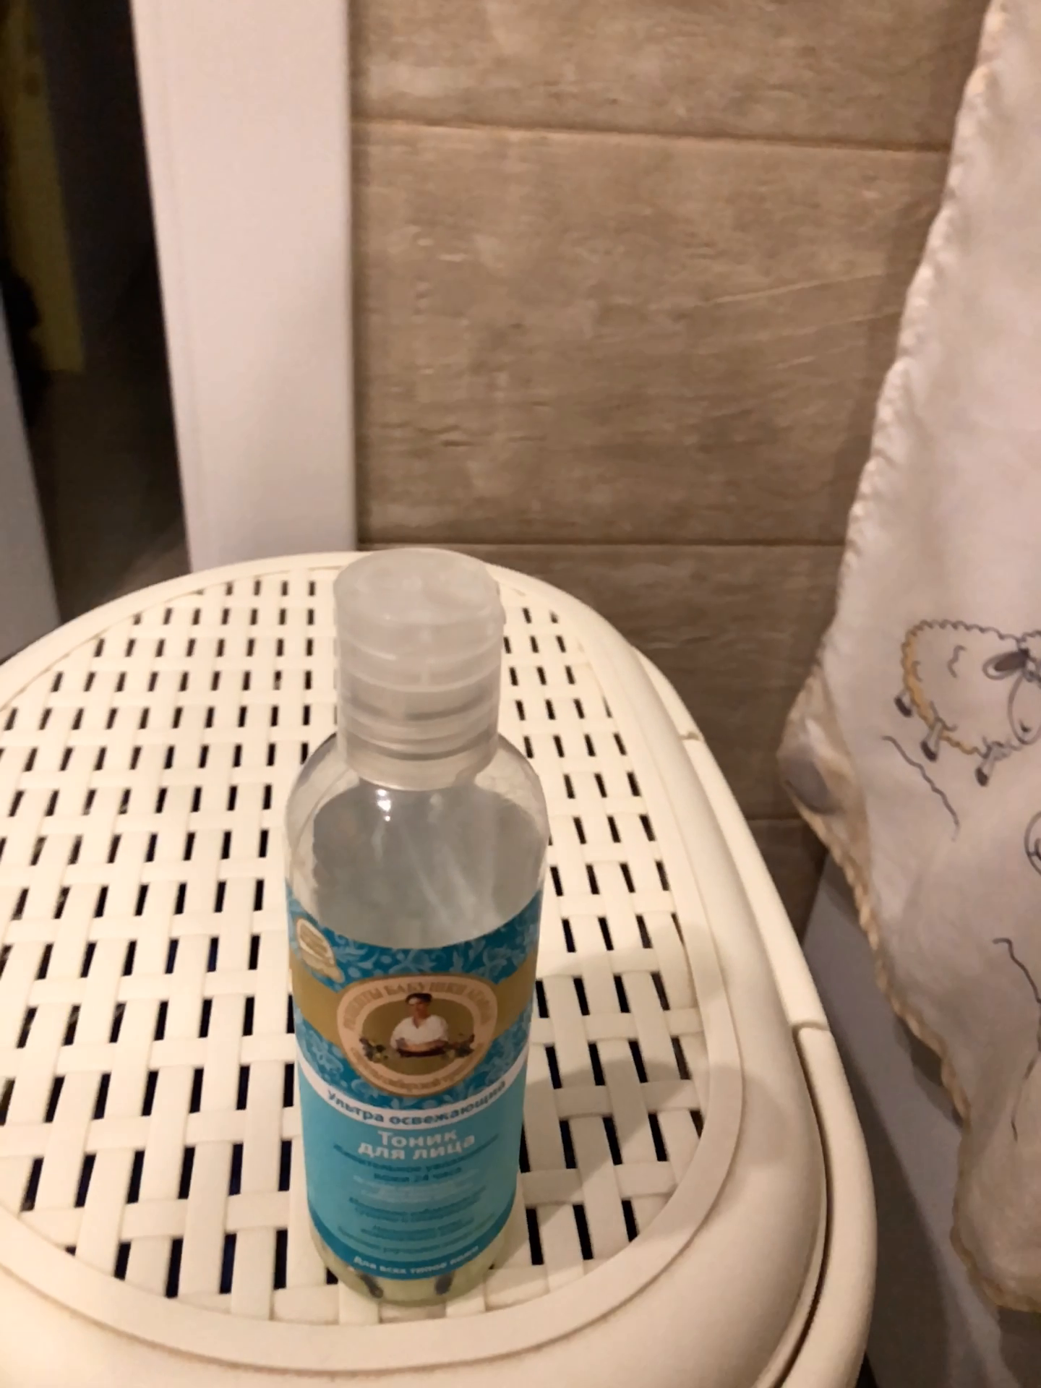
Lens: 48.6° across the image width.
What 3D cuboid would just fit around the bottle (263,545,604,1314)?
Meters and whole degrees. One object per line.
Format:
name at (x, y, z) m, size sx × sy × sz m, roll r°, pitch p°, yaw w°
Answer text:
bottle at (-0.019, 0.051, 0.215) m, size 0.045 × 0.153 × 0.045 m, roll 3°, pitch 34°, yaw -2°
